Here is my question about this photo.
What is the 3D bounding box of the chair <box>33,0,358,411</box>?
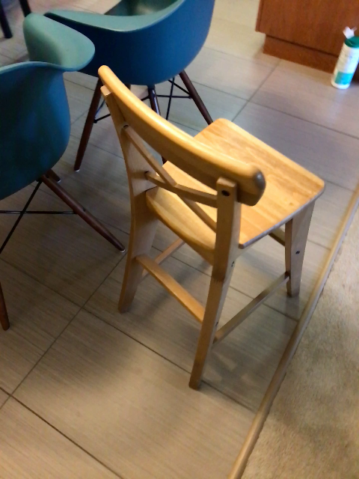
[{"bbox_3d":[0.114,-0.041,0.888,0.492,0.686,0.440,-40,61,-23],"label":"chair"}]
